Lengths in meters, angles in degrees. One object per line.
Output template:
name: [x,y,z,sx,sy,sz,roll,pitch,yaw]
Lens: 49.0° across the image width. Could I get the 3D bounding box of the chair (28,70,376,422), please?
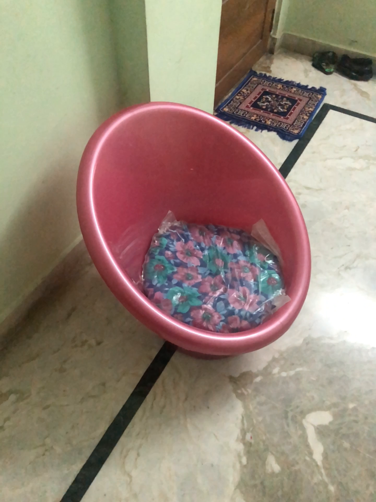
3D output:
chair: [0.029,-0.045,1.229,0.641,0.547,0.663,-27,57,-21]
